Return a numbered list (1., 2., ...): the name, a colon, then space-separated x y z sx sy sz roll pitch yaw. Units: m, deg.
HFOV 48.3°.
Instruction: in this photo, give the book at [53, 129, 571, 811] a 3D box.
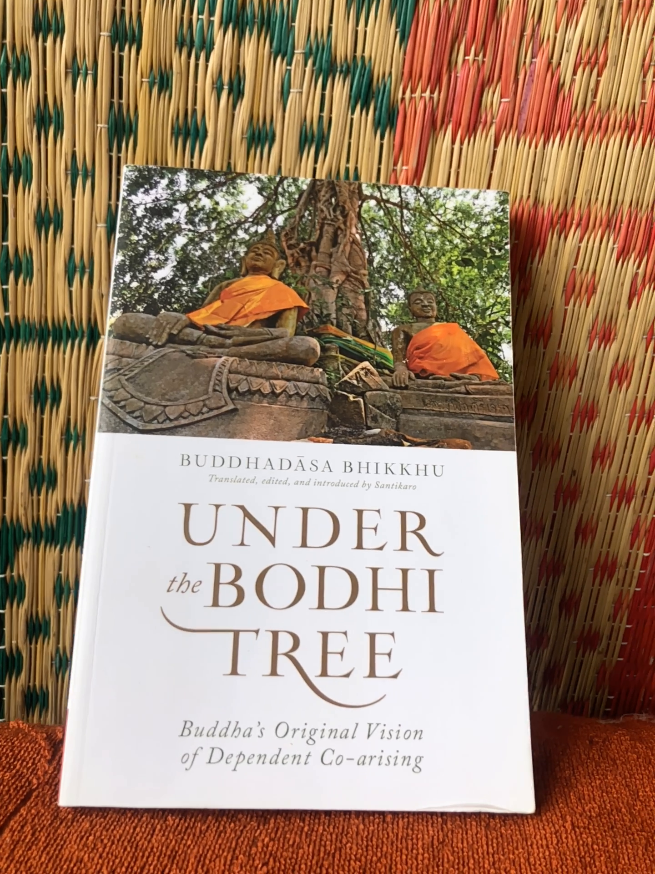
1. book: -0.001 0.006 0.265 0.160 0.231 0.030 2 -13 -5
